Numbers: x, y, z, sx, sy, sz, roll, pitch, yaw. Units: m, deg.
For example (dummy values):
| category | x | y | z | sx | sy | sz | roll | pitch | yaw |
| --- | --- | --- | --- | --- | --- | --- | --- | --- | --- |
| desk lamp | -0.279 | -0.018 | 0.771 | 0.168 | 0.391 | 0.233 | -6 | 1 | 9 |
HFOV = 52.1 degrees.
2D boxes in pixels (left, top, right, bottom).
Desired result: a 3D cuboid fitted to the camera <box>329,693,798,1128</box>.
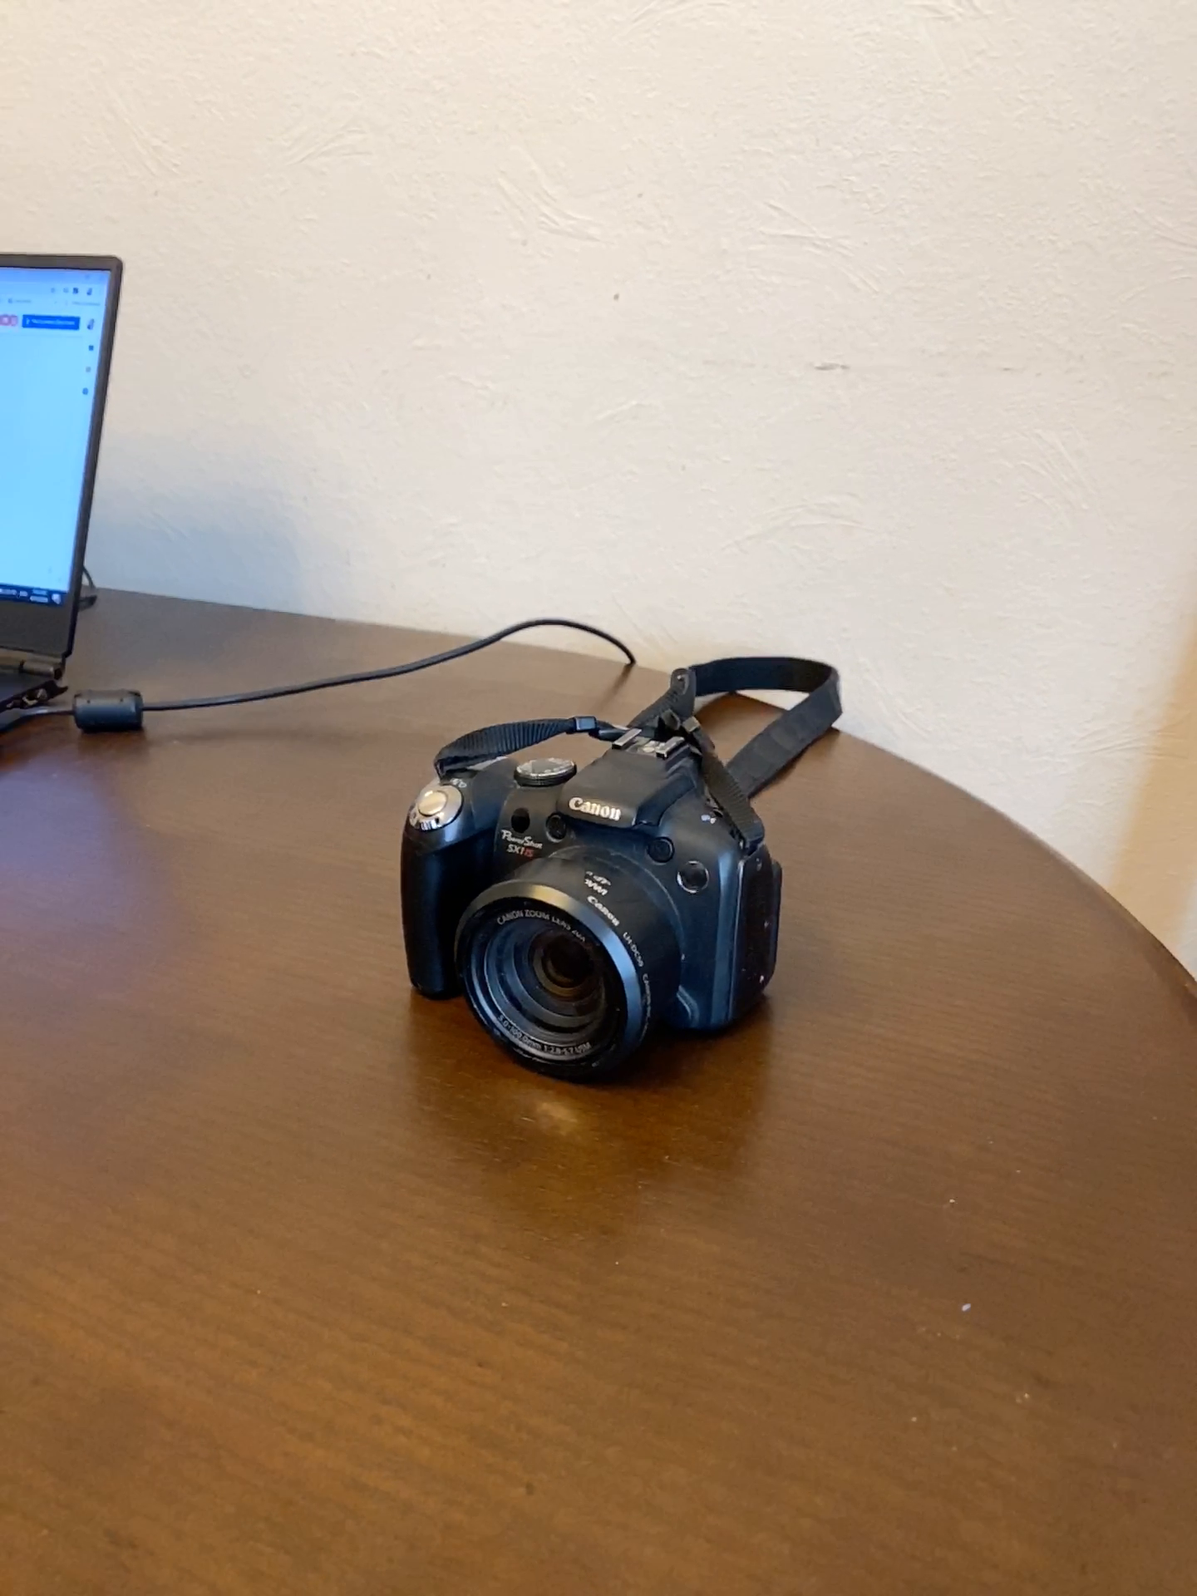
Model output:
| category | x | y | z | sx | sy | sz | roll | pitch | yaw |
| --- | --- | --- | --- | --- | --- | --- | --- | --- | --- |
| camera | -0.011 | 0.029 | 0.401 | 0.123 | 0.088 | 0.082 | 13 | 25 | 25 |
